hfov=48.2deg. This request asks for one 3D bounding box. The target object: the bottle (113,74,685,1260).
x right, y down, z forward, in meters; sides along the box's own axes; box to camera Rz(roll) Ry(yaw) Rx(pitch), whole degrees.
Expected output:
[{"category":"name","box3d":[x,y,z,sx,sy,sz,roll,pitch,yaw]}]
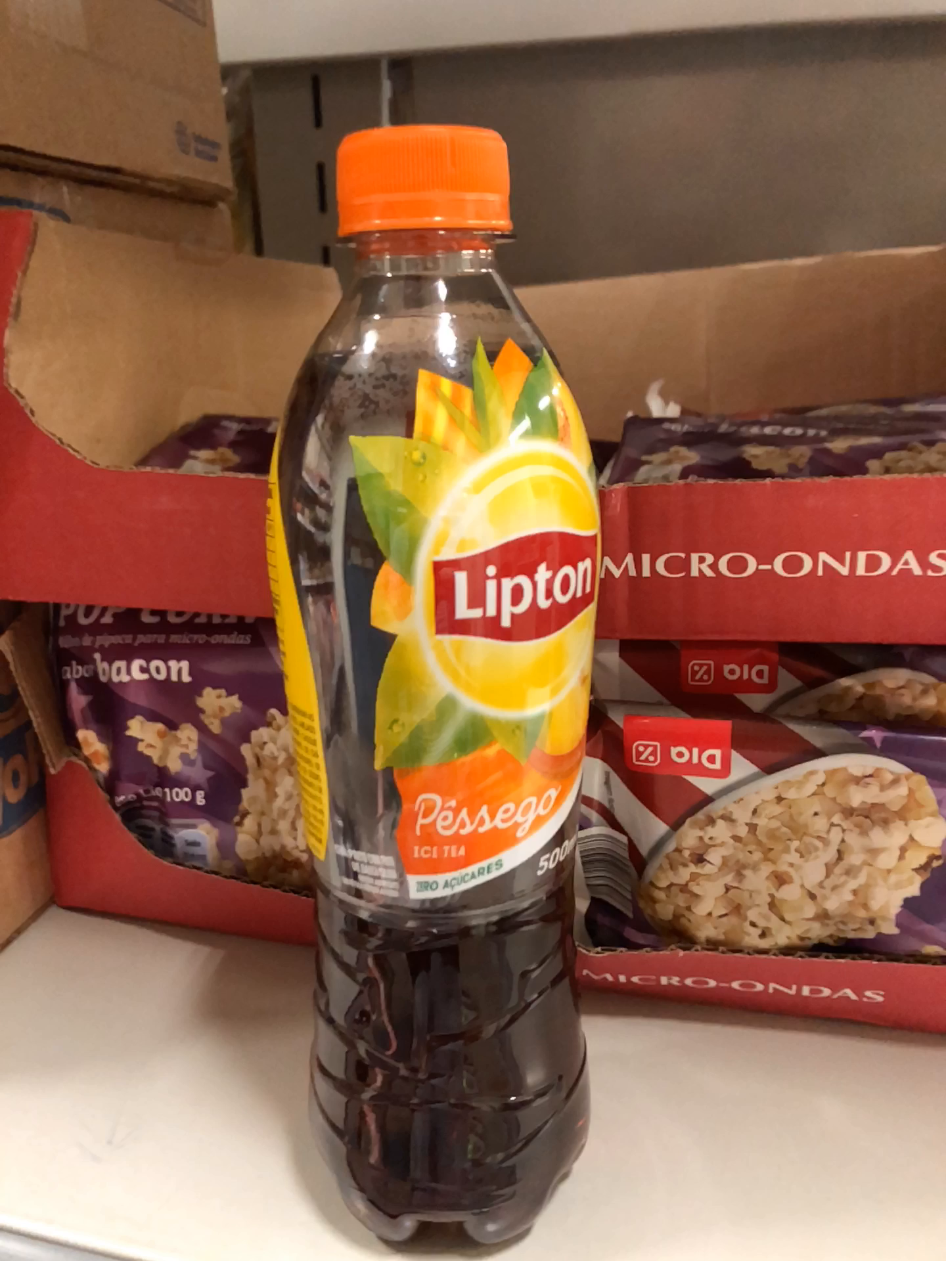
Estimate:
[{"category":"bottle","box3d":[-0.011,0.015,0.216,0.070,0.219,0.070,-2,20,1]}]
